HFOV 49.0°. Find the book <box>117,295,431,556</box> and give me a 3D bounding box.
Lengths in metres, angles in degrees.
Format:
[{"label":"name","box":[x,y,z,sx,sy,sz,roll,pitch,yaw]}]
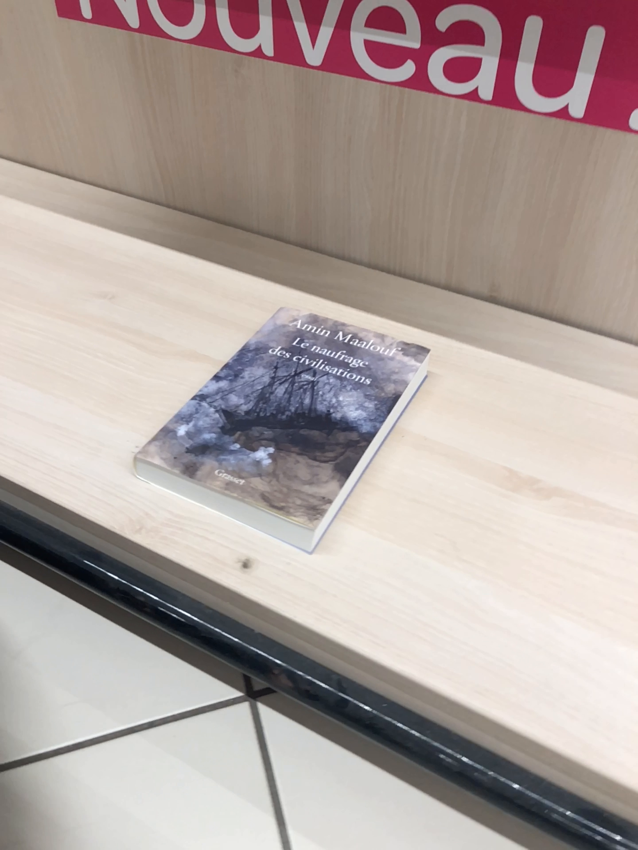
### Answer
[{"label":"book","box":[-0.023,-0.015,0.530,0.147,0.026,0.212,20,47,19]}]
